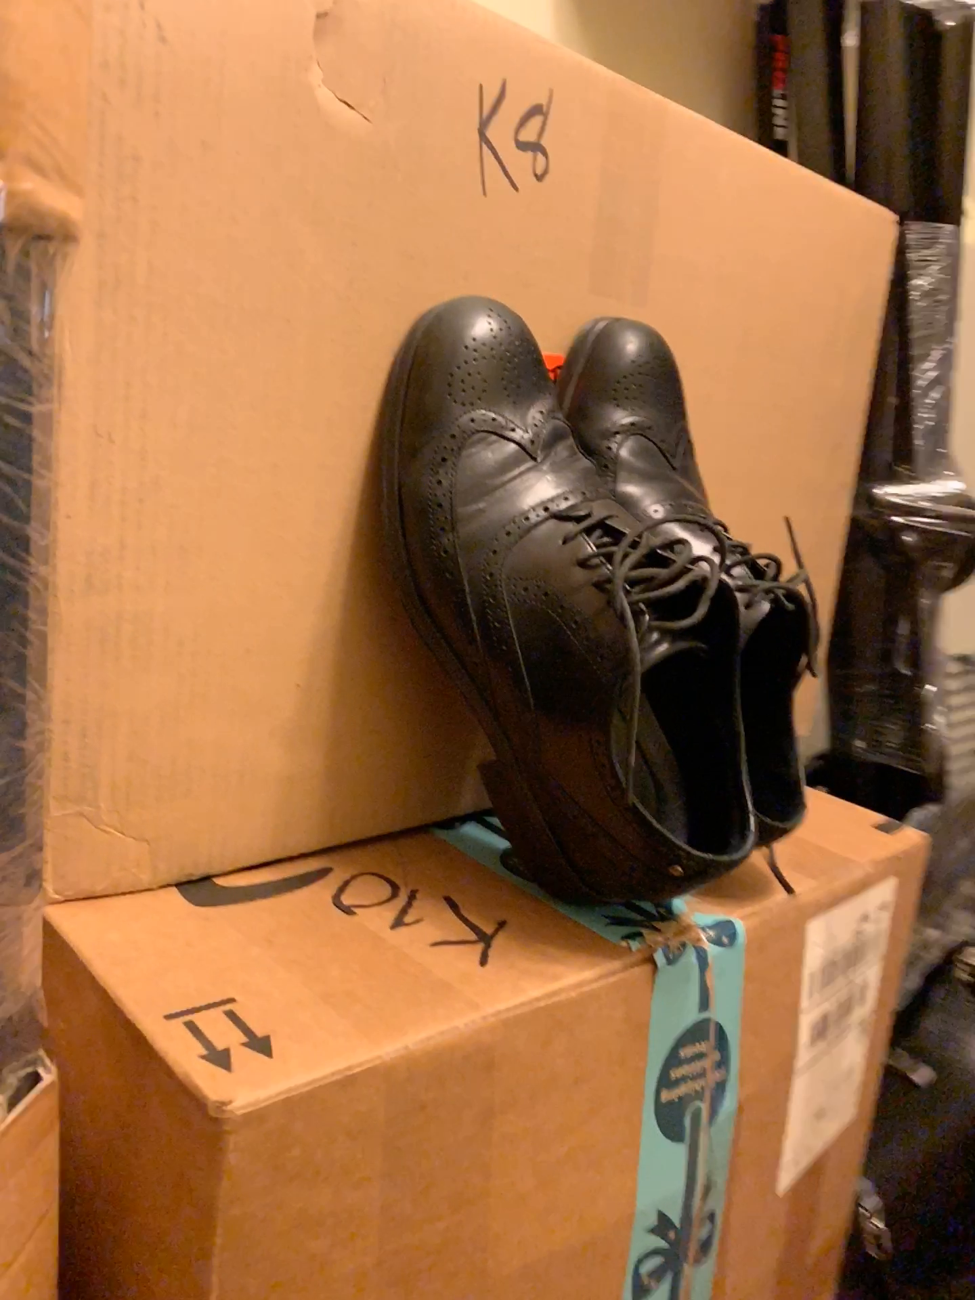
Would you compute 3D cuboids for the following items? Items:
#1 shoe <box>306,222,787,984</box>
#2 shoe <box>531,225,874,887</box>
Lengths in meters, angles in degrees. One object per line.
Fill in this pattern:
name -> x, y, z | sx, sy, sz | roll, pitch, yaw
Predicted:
shoe -> 0.032, -0.022, 0.436 | 0.100, 0.279, 0.120 | -6, 10, 44
shoe -> 0.108, -0.041, 0.501 | 0.120, 0.280, 0.100 | -4, 0, -45
